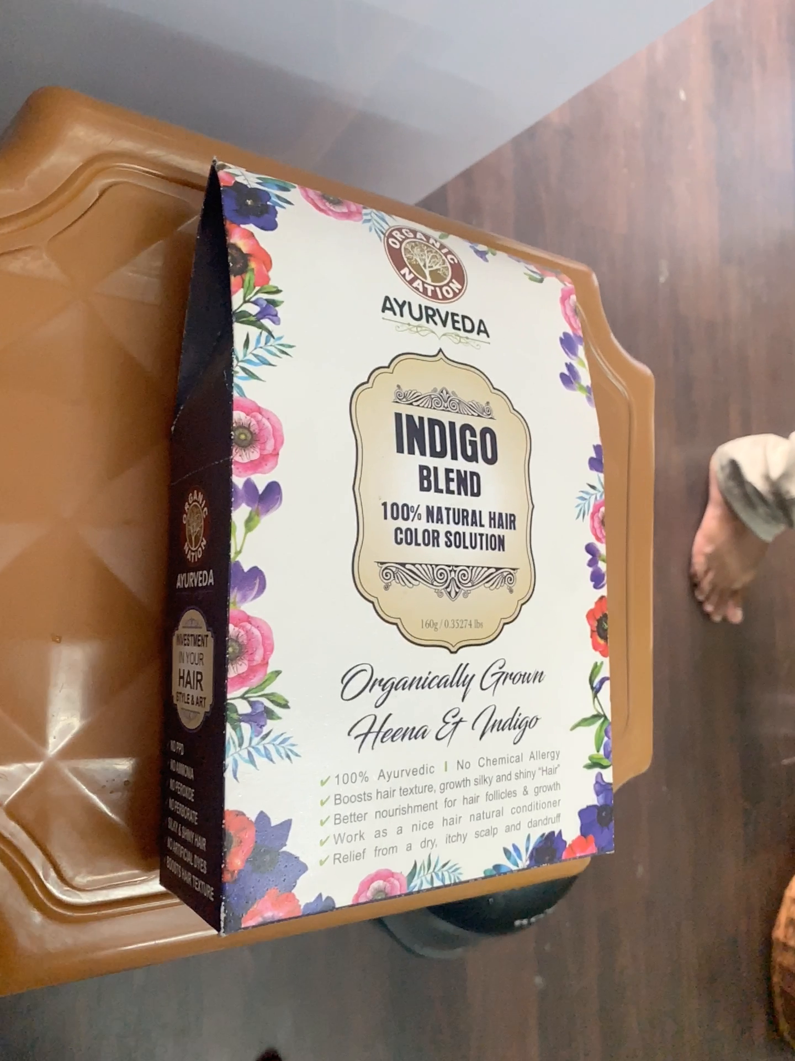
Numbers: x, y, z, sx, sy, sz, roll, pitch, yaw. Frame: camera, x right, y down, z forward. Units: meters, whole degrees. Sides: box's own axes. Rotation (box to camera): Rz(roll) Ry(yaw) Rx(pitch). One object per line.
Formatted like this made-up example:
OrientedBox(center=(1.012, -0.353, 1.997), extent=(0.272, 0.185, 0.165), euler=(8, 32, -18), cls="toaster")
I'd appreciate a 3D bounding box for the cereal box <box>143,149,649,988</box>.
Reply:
OrientedBox(center=(0.003, 0.011, 0.263), extent=(0.141, 0.070, 0.200), euler=(4, 83, -32), cls="cereal box")
